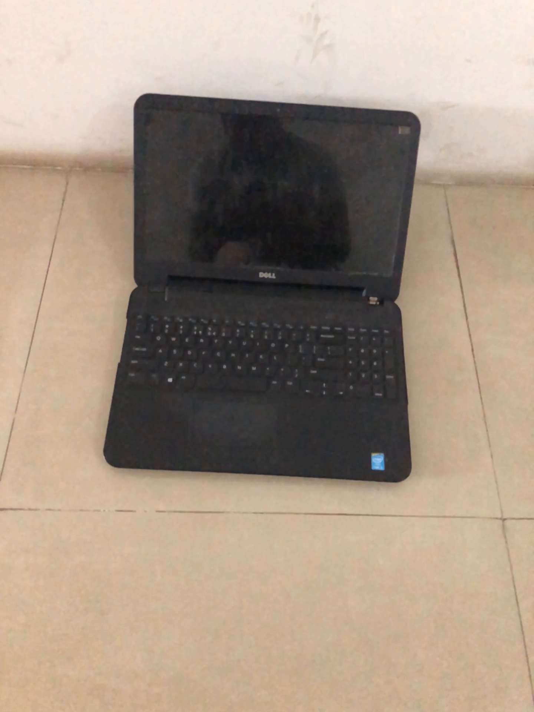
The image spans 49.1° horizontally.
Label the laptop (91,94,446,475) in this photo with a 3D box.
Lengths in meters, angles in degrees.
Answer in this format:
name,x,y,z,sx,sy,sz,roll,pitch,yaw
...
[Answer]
name,x,y,z,sx,sy,sz,roll,pitch,yaw
laptop,0.005,-0.090,0.698,0.322,0.166,0.410,3,62,-3
